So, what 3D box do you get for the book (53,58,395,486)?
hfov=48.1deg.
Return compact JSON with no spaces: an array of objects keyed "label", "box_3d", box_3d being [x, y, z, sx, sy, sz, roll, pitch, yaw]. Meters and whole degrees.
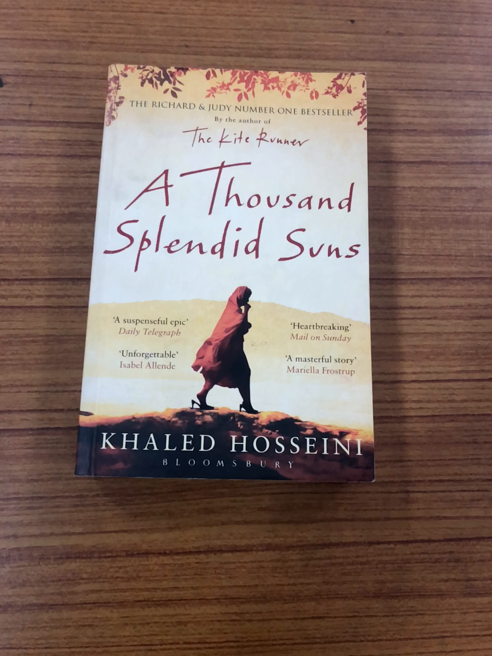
[{"label":"book","box_3d":[-0.007,-0.027,0.257,0.140,0.030,0.190,2,80,-3]}]
